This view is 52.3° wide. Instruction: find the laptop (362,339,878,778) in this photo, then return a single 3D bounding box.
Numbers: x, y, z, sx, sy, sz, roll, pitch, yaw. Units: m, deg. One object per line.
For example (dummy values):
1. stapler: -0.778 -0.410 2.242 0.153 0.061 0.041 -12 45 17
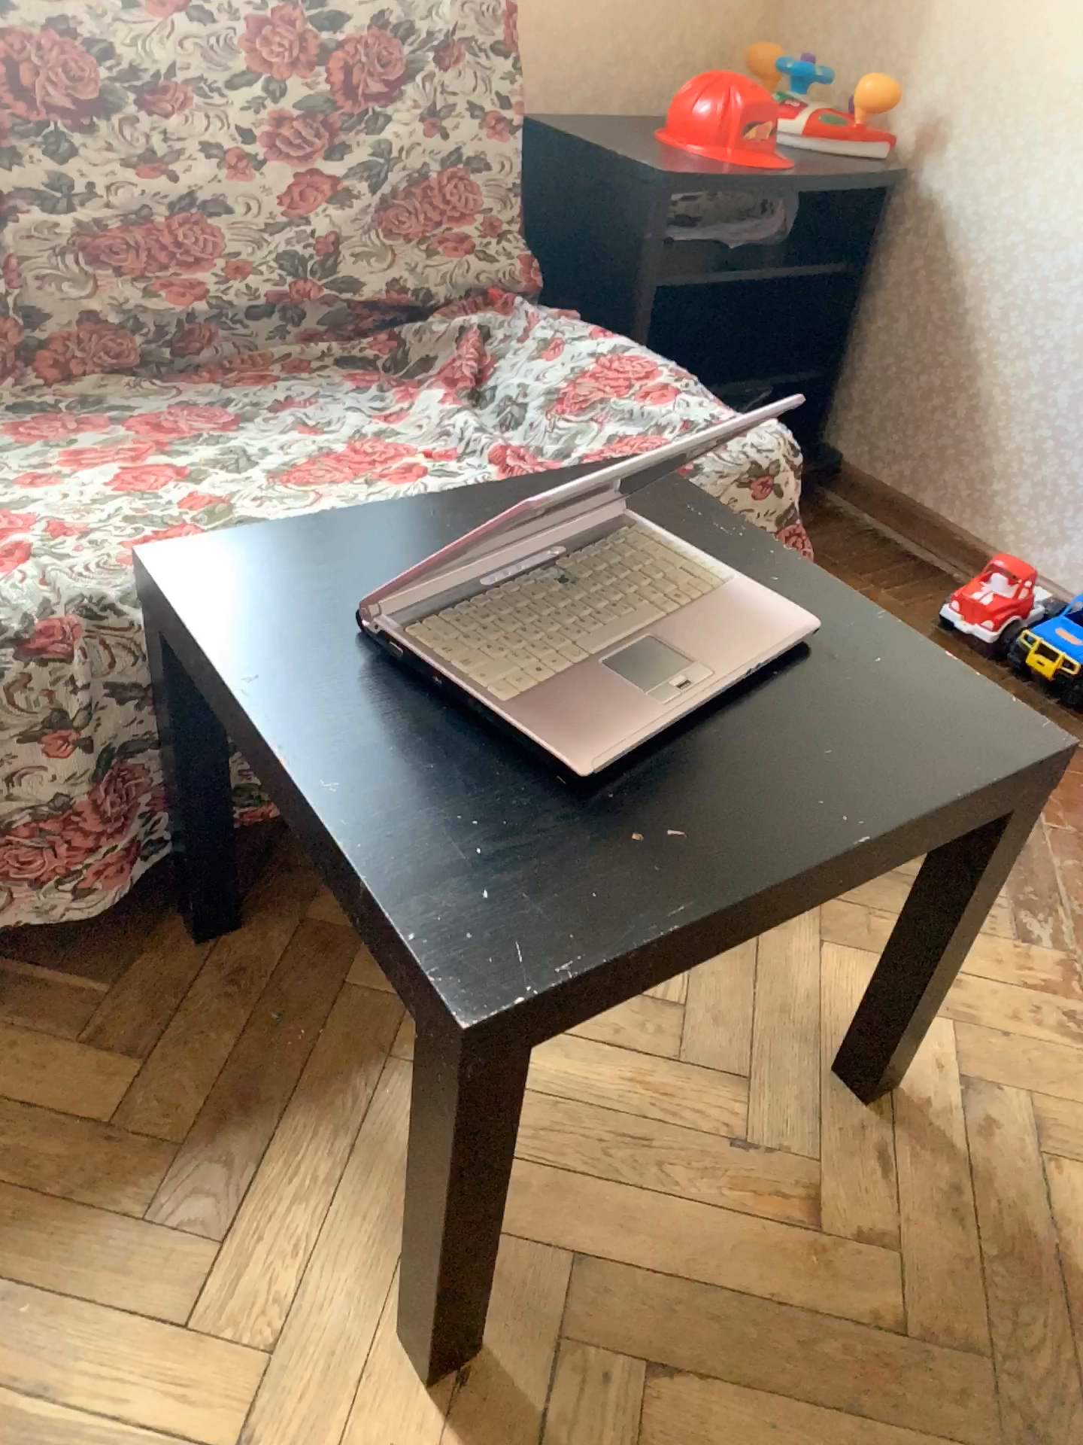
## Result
1. laptop: 0.058 -0.143 0.824 0.226 0.156 0.306 34 44 28
